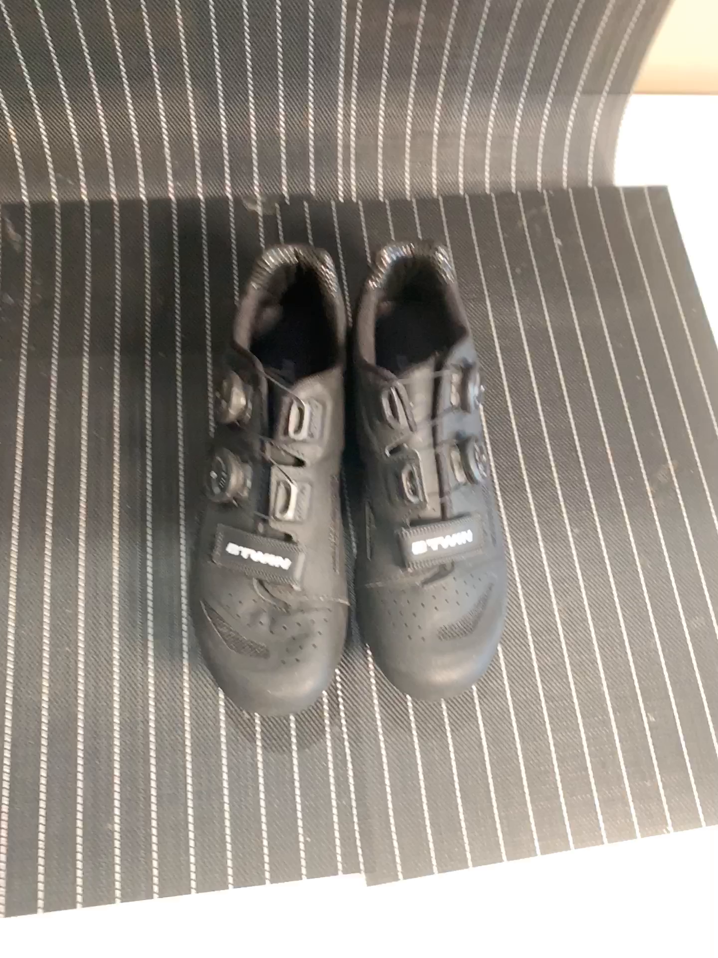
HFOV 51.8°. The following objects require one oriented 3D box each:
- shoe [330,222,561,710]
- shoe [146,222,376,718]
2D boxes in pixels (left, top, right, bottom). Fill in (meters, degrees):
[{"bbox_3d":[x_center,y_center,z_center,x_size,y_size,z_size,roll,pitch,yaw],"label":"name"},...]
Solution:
[{"bbox_3d":[0.039,-0.008,0.436,0.100,0.090,0.270,-1,72,-5],"label":"shoe"},{"bbox_3d":[-0.047,-0.003,0.417,0.100,0.090,0.260,3,72,-4],"label":"shoe"}]
